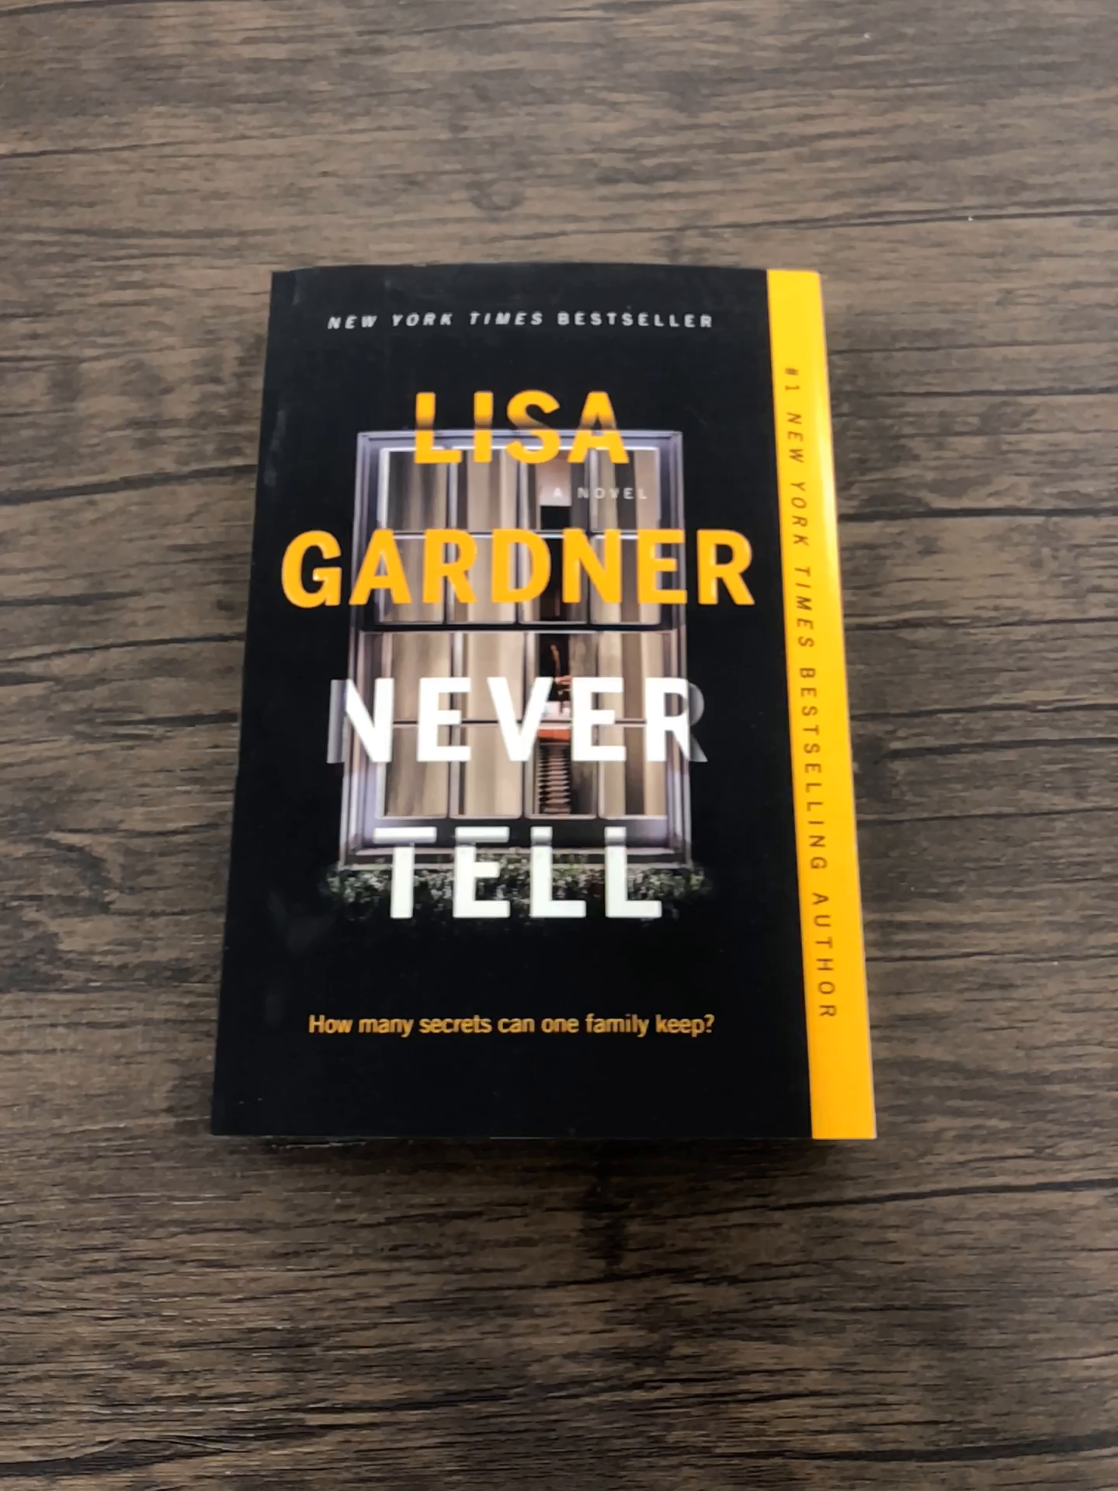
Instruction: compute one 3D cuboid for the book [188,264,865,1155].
[{"bbox_3d":[-0.006,-0.014,0.295,0.137,0.032,0.207,0,75,0],"label":"book"}]
